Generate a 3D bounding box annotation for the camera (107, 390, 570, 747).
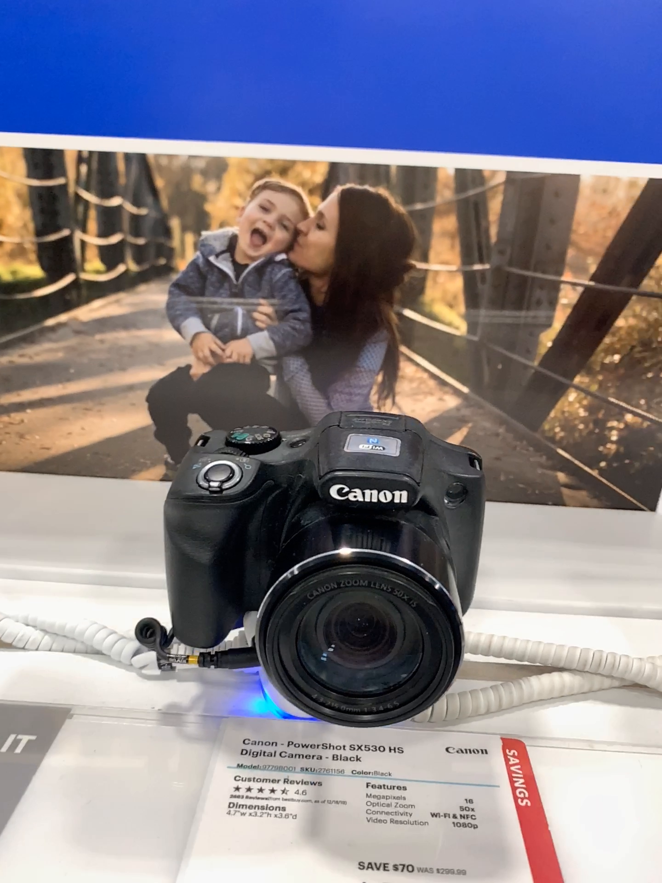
[{"bbox_3d":[0.000,0.036,0.238,0.124,0.080,0.090,4,18,-1],"label":"camera"}]
